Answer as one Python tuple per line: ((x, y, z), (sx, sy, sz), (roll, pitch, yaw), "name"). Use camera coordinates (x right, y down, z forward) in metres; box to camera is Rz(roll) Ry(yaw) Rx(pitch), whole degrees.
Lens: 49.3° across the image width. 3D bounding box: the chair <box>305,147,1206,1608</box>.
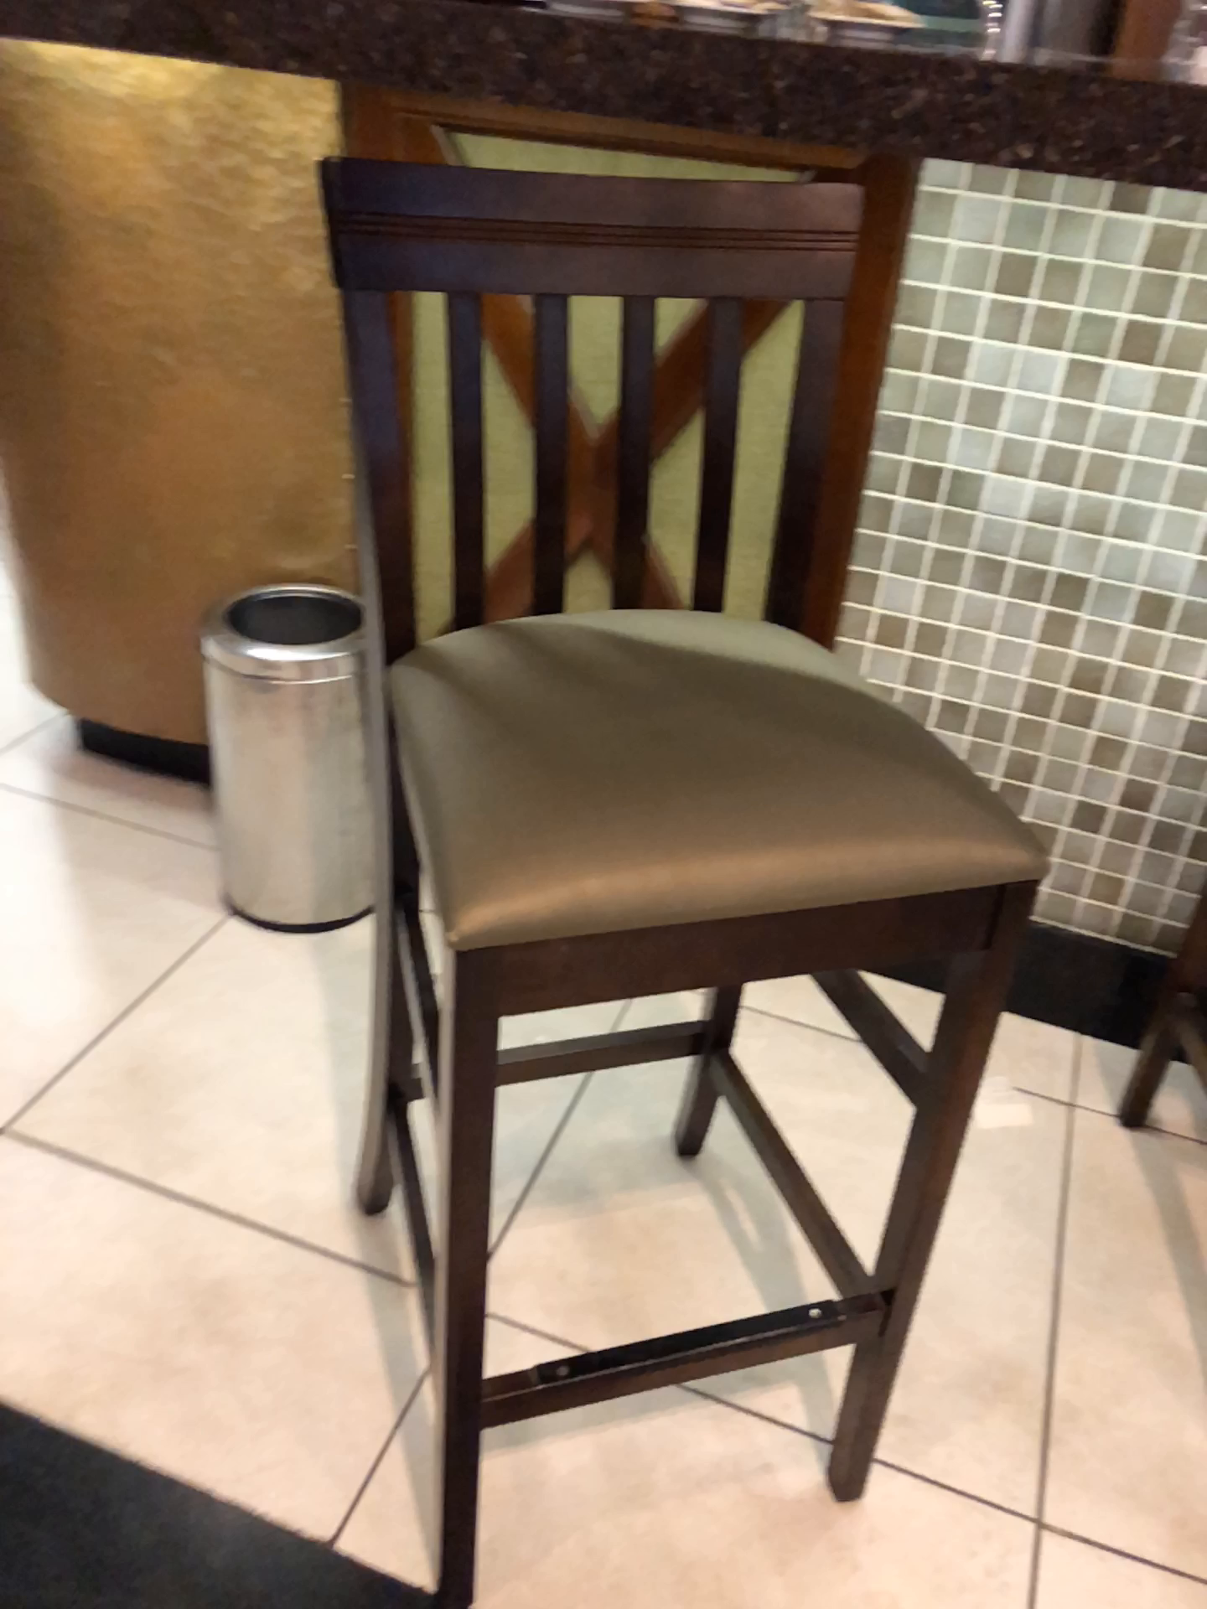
((0.042, 0.078, 1.071), (0.461, 1.032, 0.493), (-6, 33, -17), "chair")
